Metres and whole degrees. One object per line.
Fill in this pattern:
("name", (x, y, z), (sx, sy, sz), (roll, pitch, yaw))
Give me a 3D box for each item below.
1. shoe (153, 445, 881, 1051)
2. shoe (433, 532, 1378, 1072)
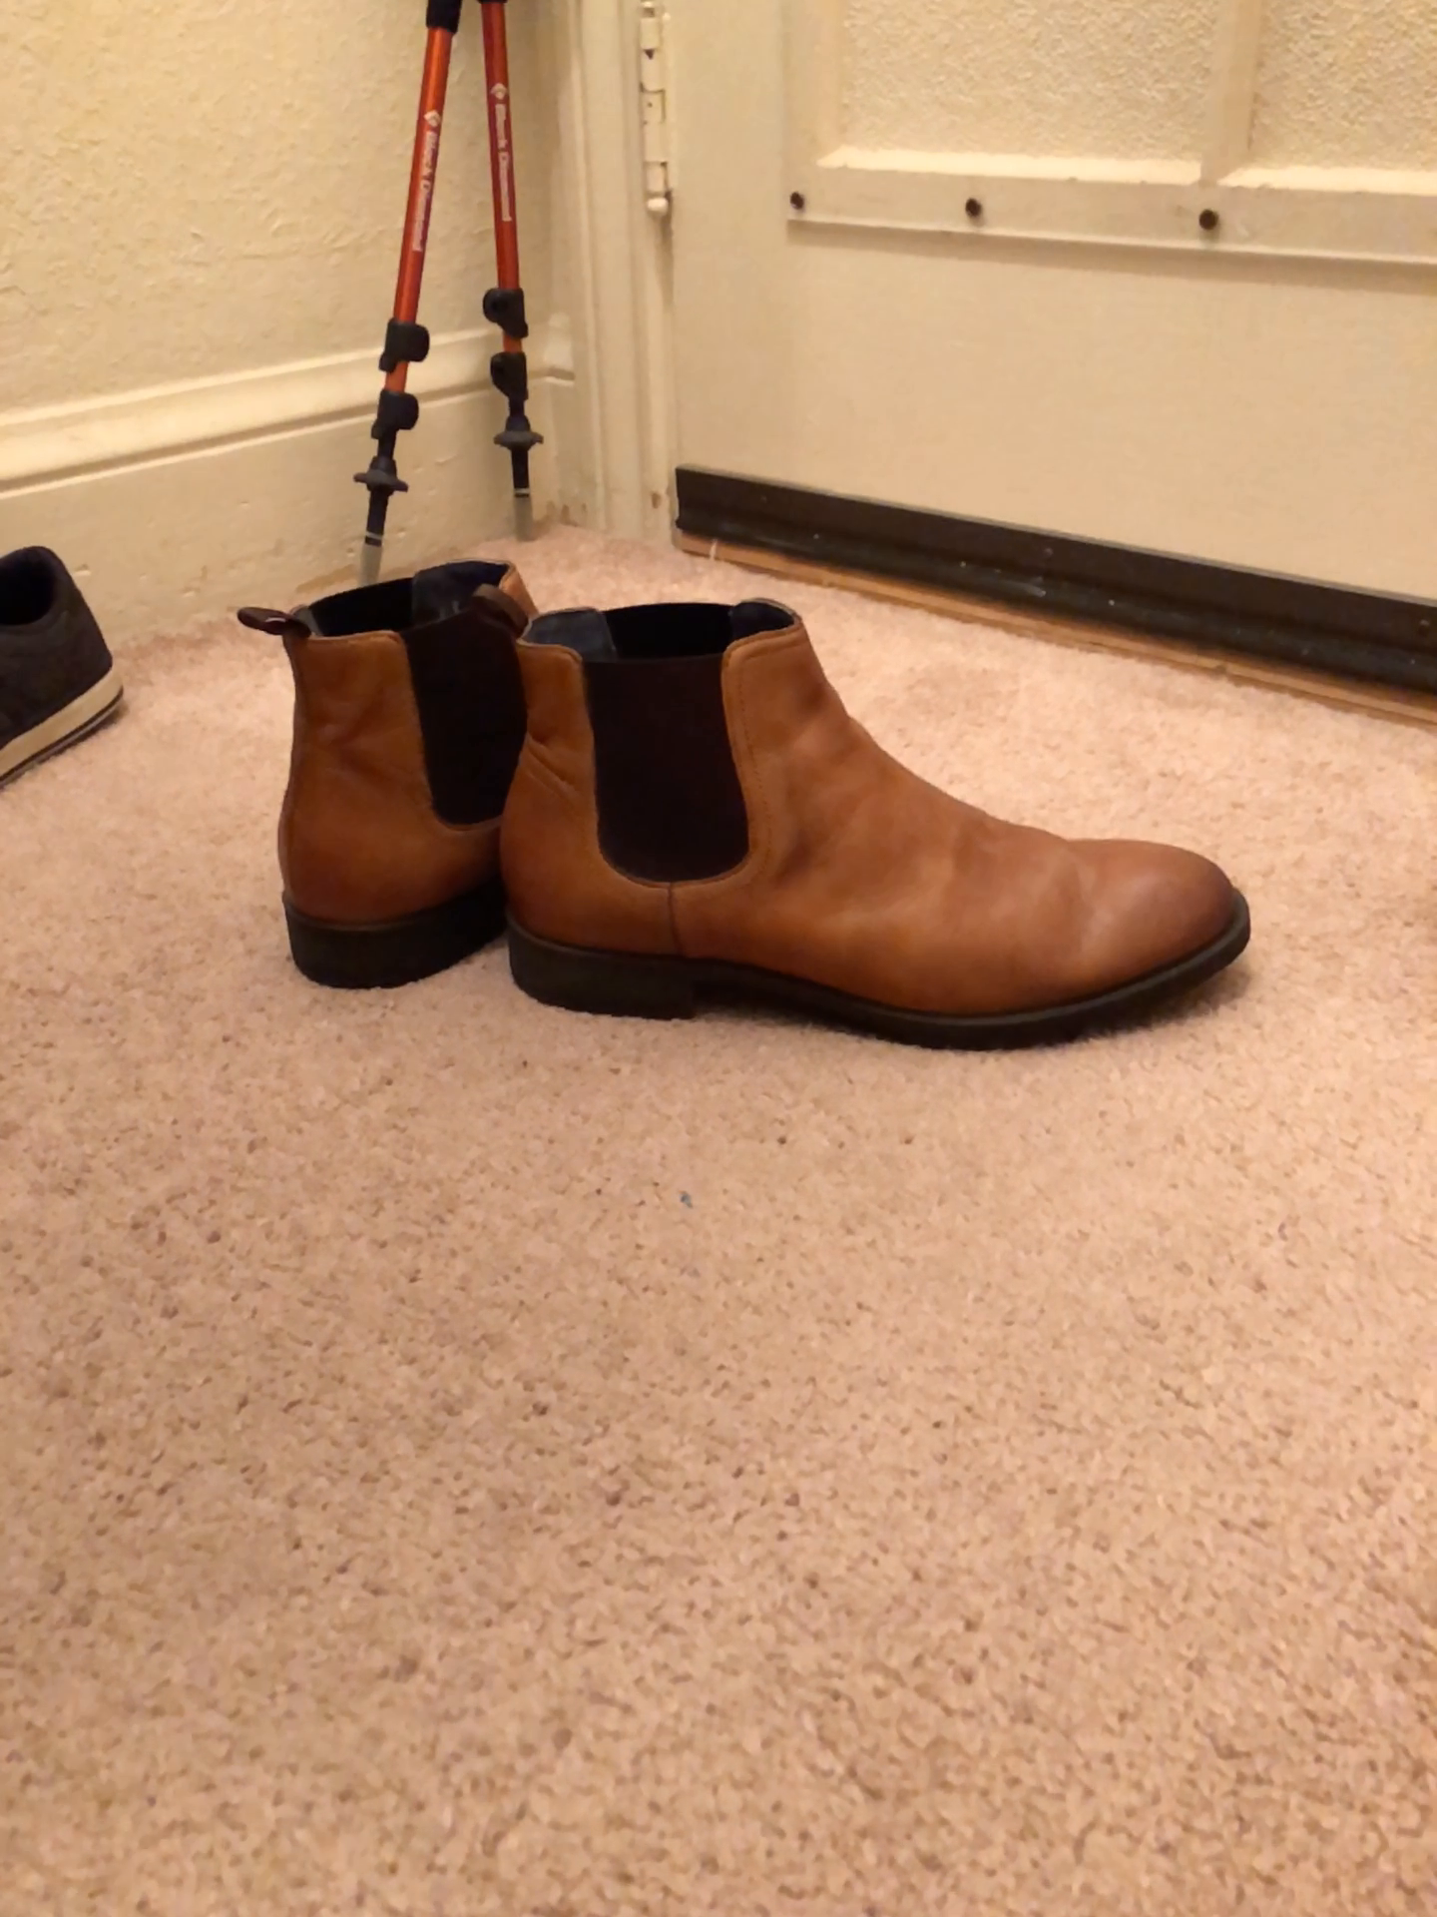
("shoe", (-0.070, -0.112, 0.719), (0.109, 0.165, 0.313), (25, 40, 38))
("shoe", (0.065, -0.065, 0.613), (0.312, 0.165, 0.110), (3, 31, 7))
